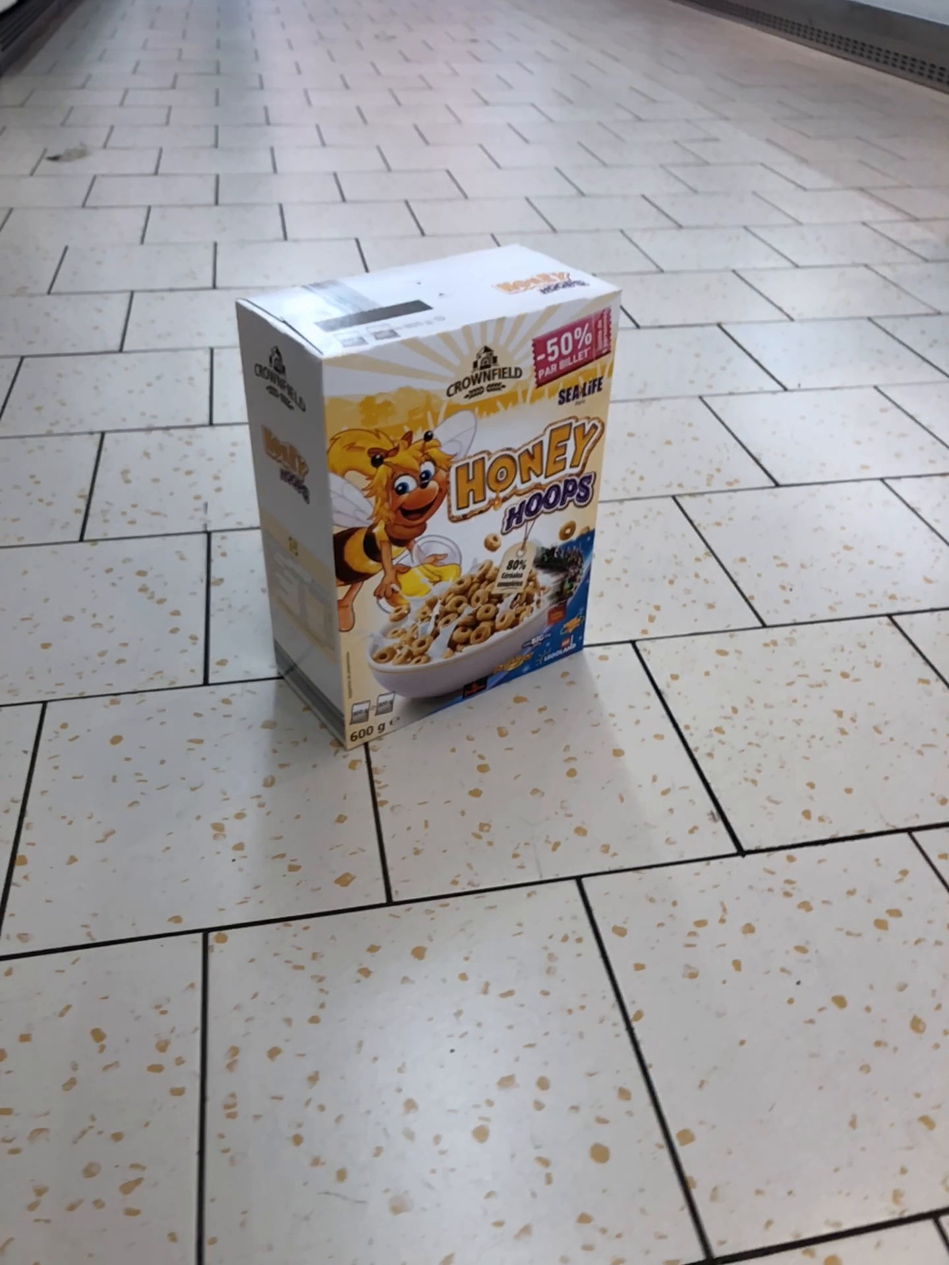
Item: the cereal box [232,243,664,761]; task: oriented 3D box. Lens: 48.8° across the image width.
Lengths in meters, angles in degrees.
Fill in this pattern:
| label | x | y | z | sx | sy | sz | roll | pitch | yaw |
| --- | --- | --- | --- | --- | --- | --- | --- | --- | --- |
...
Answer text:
| label | x | y | z | sx | sy | sz | roll | pitch | yaw |
| --- | --- | --- | --- | --- | --- | --- | --- | --- | --- |
| cereal box | -0.015 | -0.084 | 0.644 | 0.211 | 0.248 | 0.110 | -20 | 41 | -28 |
